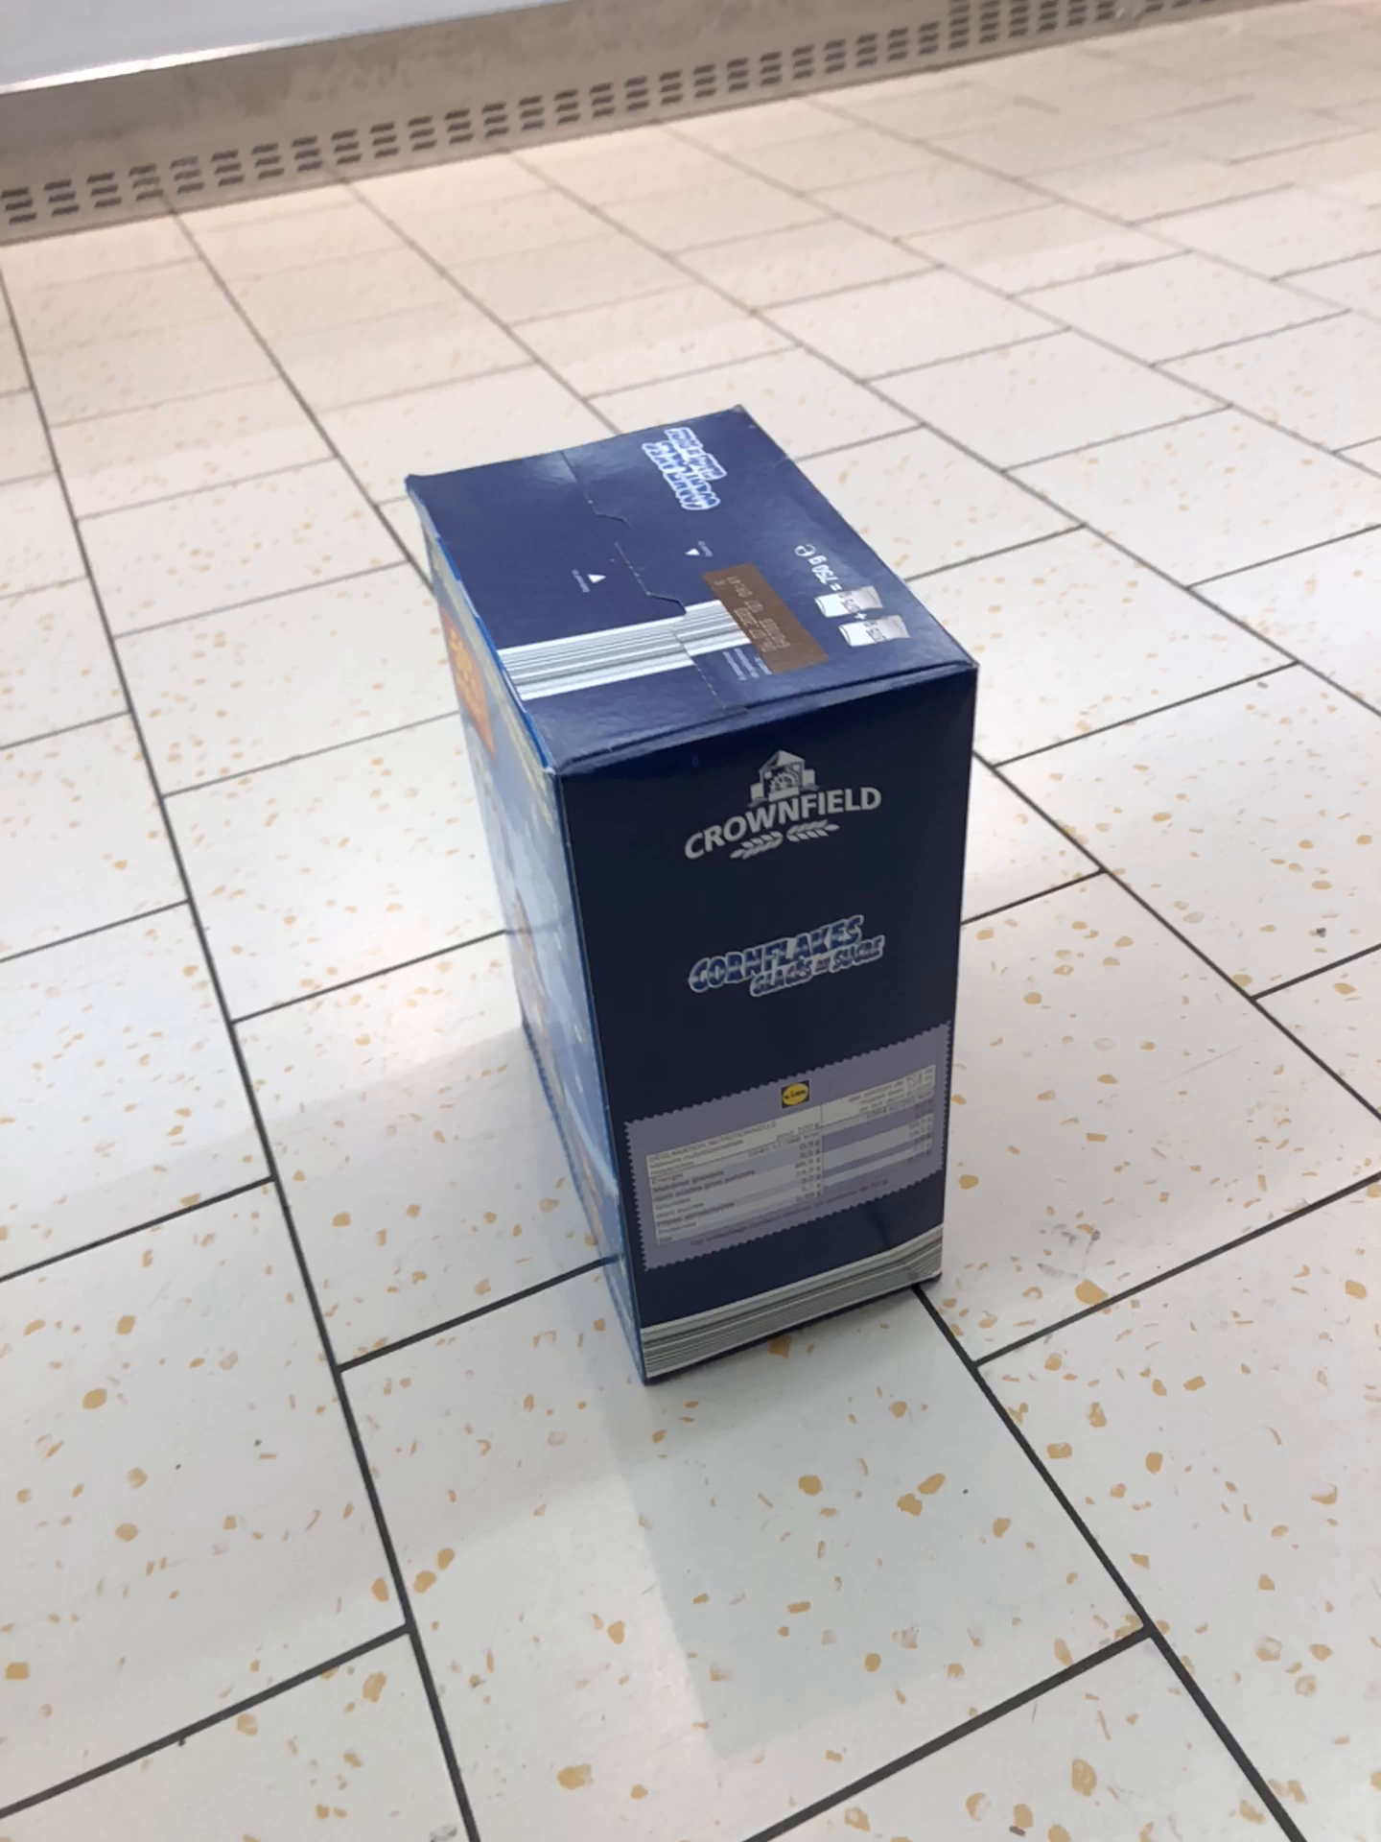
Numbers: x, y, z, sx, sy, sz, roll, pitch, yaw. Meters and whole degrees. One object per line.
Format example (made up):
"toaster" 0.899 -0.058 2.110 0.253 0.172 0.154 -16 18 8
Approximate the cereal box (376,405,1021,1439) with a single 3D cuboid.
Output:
"cereal box" -0.001 -0.003 0.523 0.130 0.258 0.211 -15 40 -11
